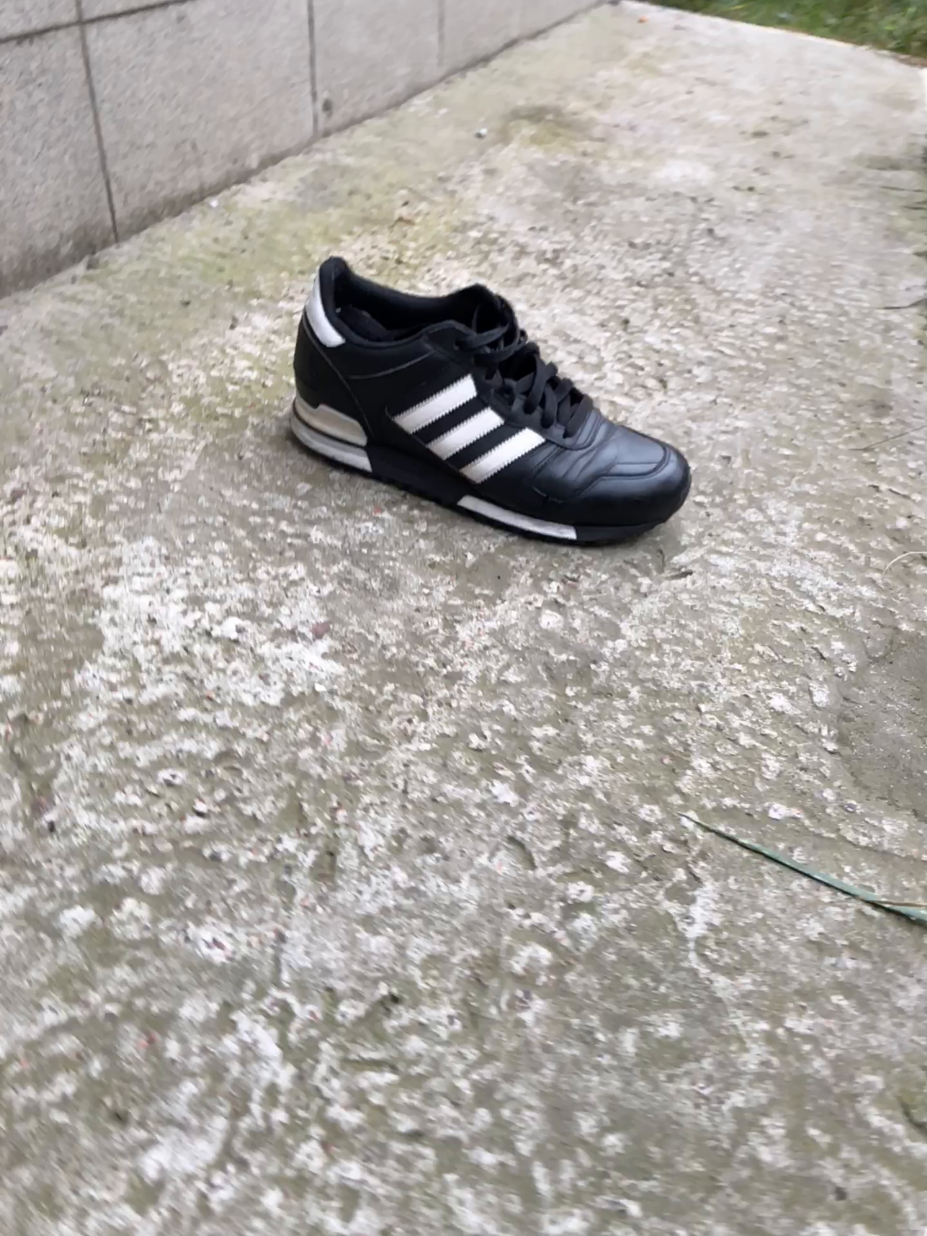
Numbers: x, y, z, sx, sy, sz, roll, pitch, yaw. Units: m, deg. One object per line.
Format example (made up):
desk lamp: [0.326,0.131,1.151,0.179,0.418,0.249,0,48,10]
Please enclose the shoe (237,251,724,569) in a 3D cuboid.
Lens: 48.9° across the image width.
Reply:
shoe: [0.009,-0.139,0.656,0.280,0.119,0.101,14,39,12]
